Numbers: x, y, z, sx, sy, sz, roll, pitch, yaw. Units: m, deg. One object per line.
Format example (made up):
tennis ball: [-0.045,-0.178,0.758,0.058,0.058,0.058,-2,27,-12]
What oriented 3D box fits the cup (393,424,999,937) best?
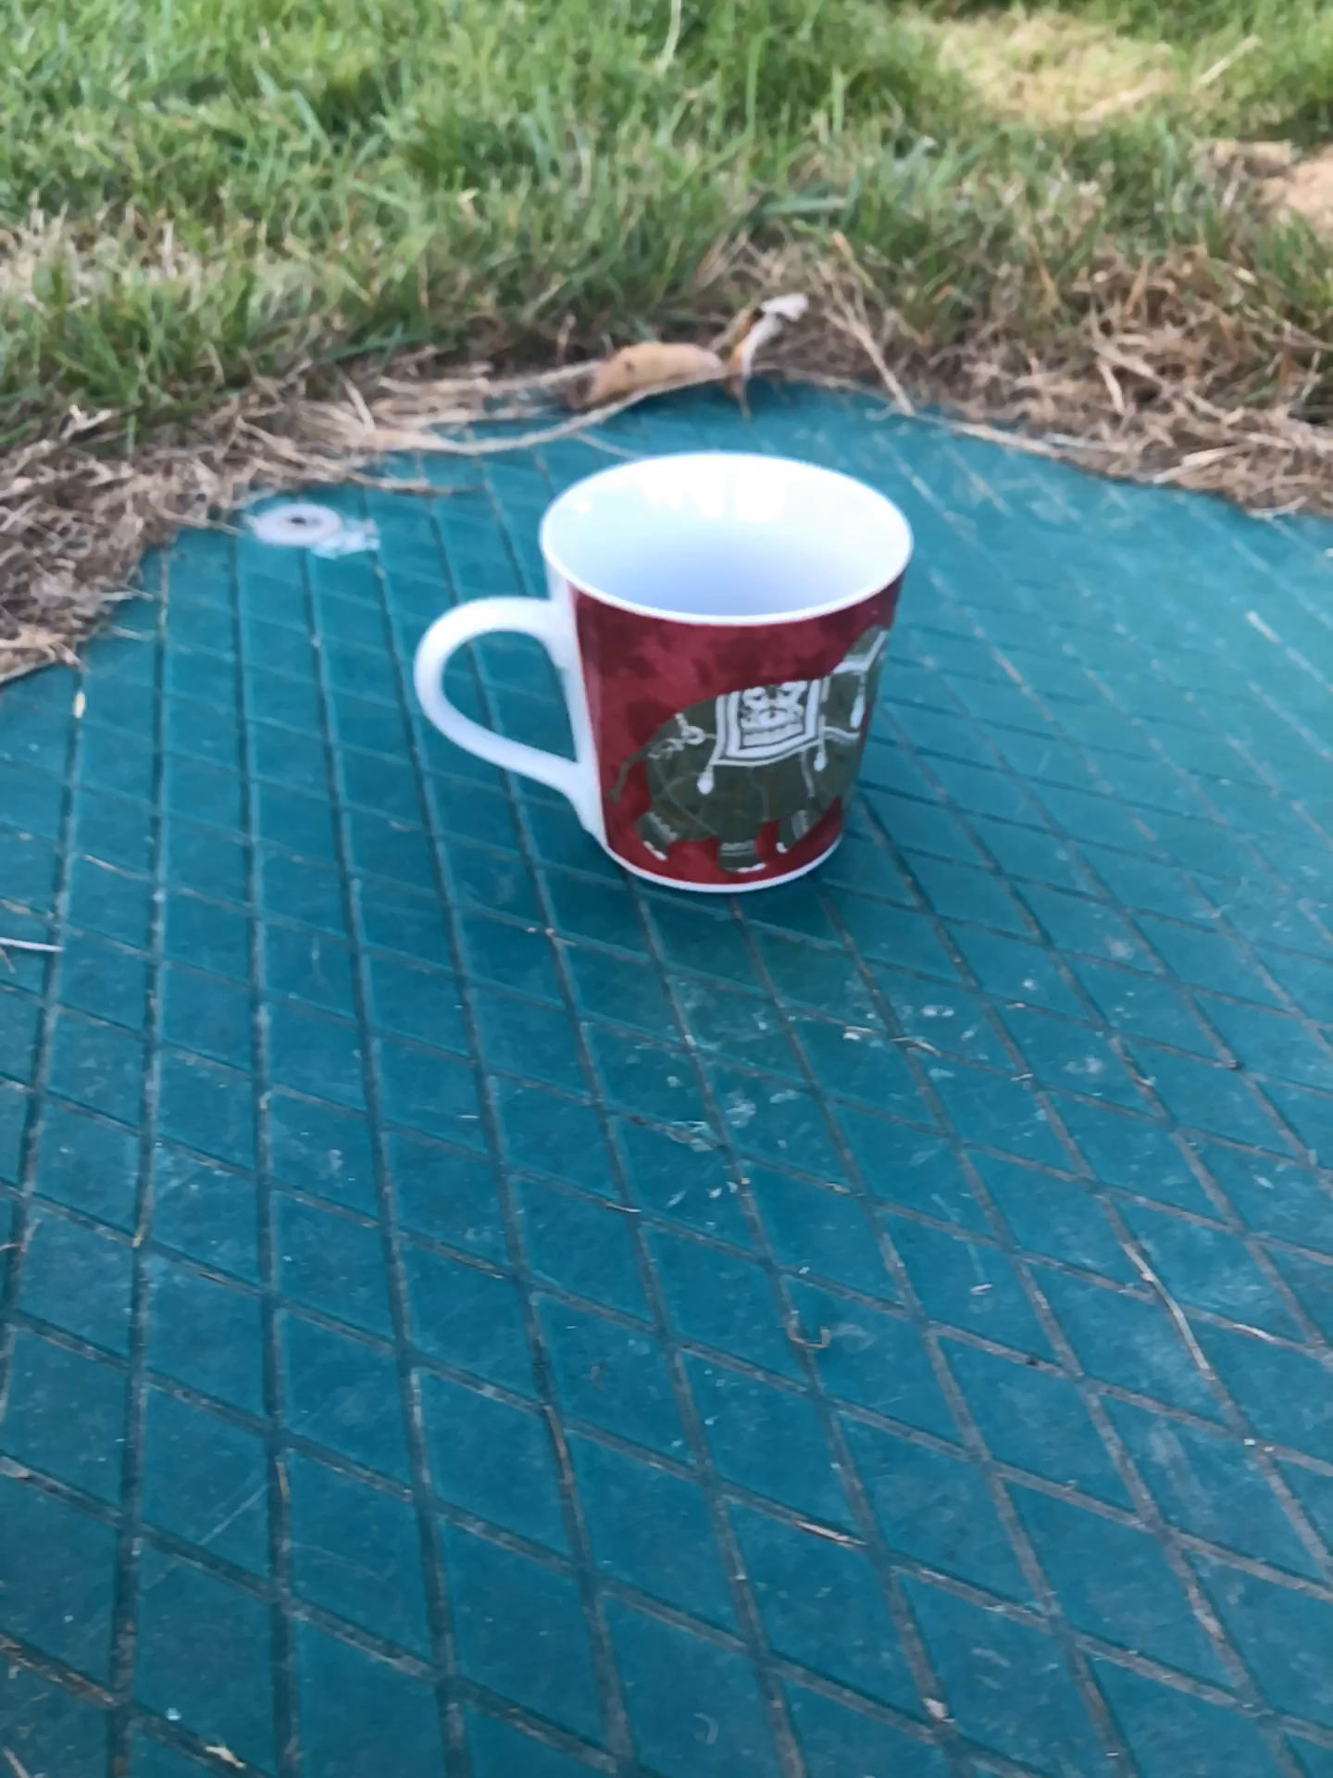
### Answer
cup: [0.002,-0.050,0.334,0.110,0.070,0.082,-9,39,-12]
